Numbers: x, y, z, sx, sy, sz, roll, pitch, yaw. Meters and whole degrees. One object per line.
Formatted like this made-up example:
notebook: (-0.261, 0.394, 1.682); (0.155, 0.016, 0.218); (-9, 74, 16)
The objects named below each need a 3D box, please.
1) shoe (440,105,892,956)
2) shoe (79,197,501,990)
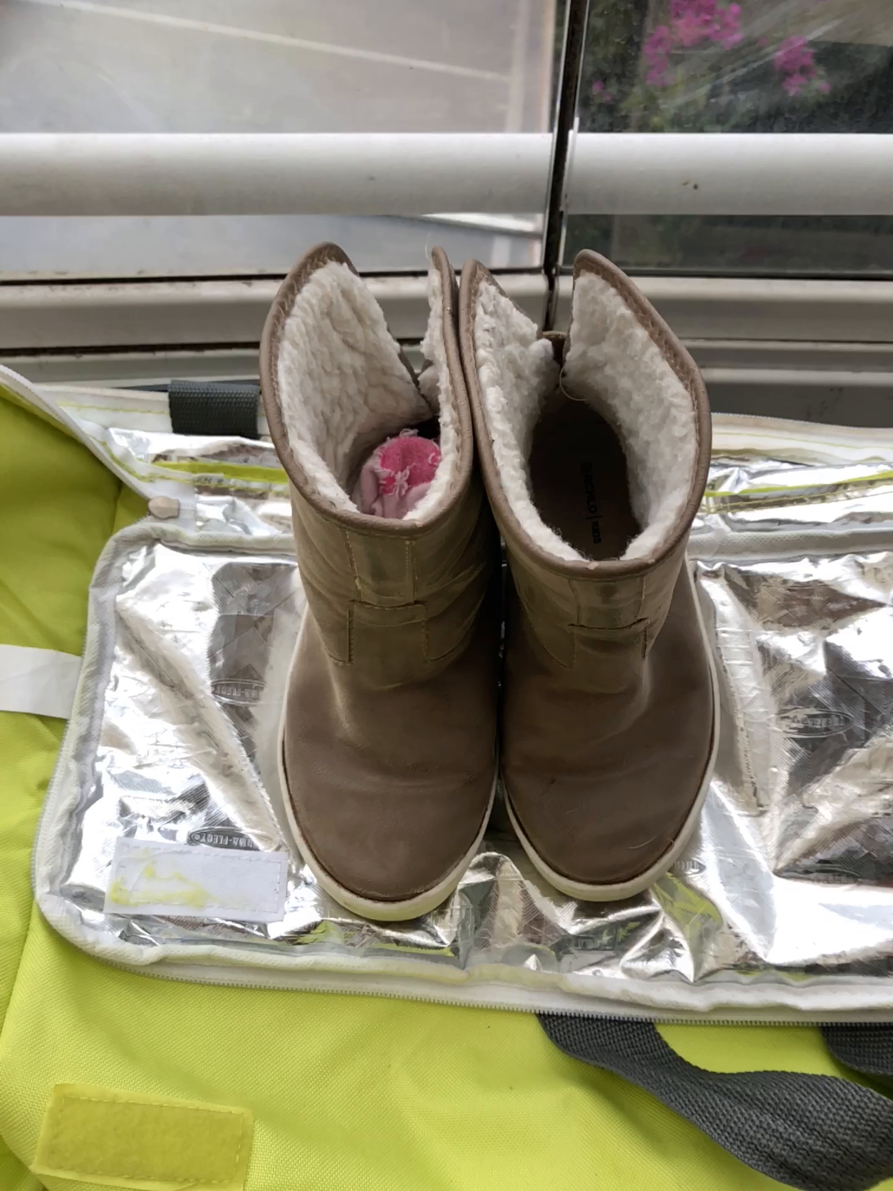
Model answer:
shoe: (0.049, -0.005, 0.310); (0.089, 0.170, 0.200); (-2, 77, 2)
shoe: (-0.028, 0.010, 0.317); (0.089, 0.170, 0.190); (0, 77, 4)
